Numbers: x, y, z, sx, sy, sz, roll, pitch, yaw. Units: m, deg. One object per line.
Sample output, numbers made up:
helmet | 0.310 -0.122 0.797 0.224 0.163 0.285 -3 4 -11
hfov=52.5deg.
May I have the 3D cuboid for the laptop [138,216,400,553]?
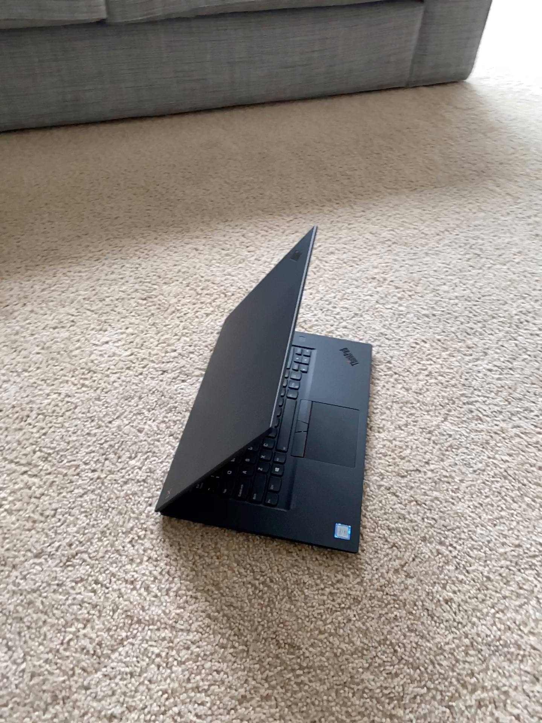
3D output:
laptop | 0.019 0.011 0.712 0.243 0.198 0.356 11 46 5
